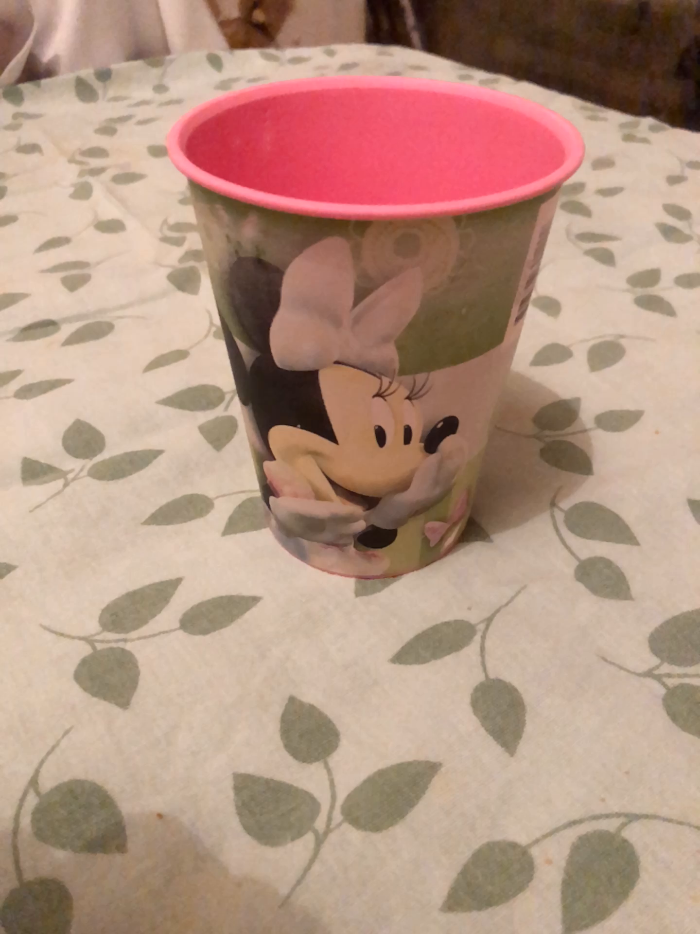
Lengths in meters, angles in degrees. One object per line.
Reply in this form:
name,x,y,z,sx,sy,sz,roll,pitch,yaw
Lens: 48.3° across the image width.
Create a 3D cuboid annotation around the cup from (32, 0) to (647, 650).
cup,0.004,-0.043,0.209,0.100,0.119,0.101,0,40,0
